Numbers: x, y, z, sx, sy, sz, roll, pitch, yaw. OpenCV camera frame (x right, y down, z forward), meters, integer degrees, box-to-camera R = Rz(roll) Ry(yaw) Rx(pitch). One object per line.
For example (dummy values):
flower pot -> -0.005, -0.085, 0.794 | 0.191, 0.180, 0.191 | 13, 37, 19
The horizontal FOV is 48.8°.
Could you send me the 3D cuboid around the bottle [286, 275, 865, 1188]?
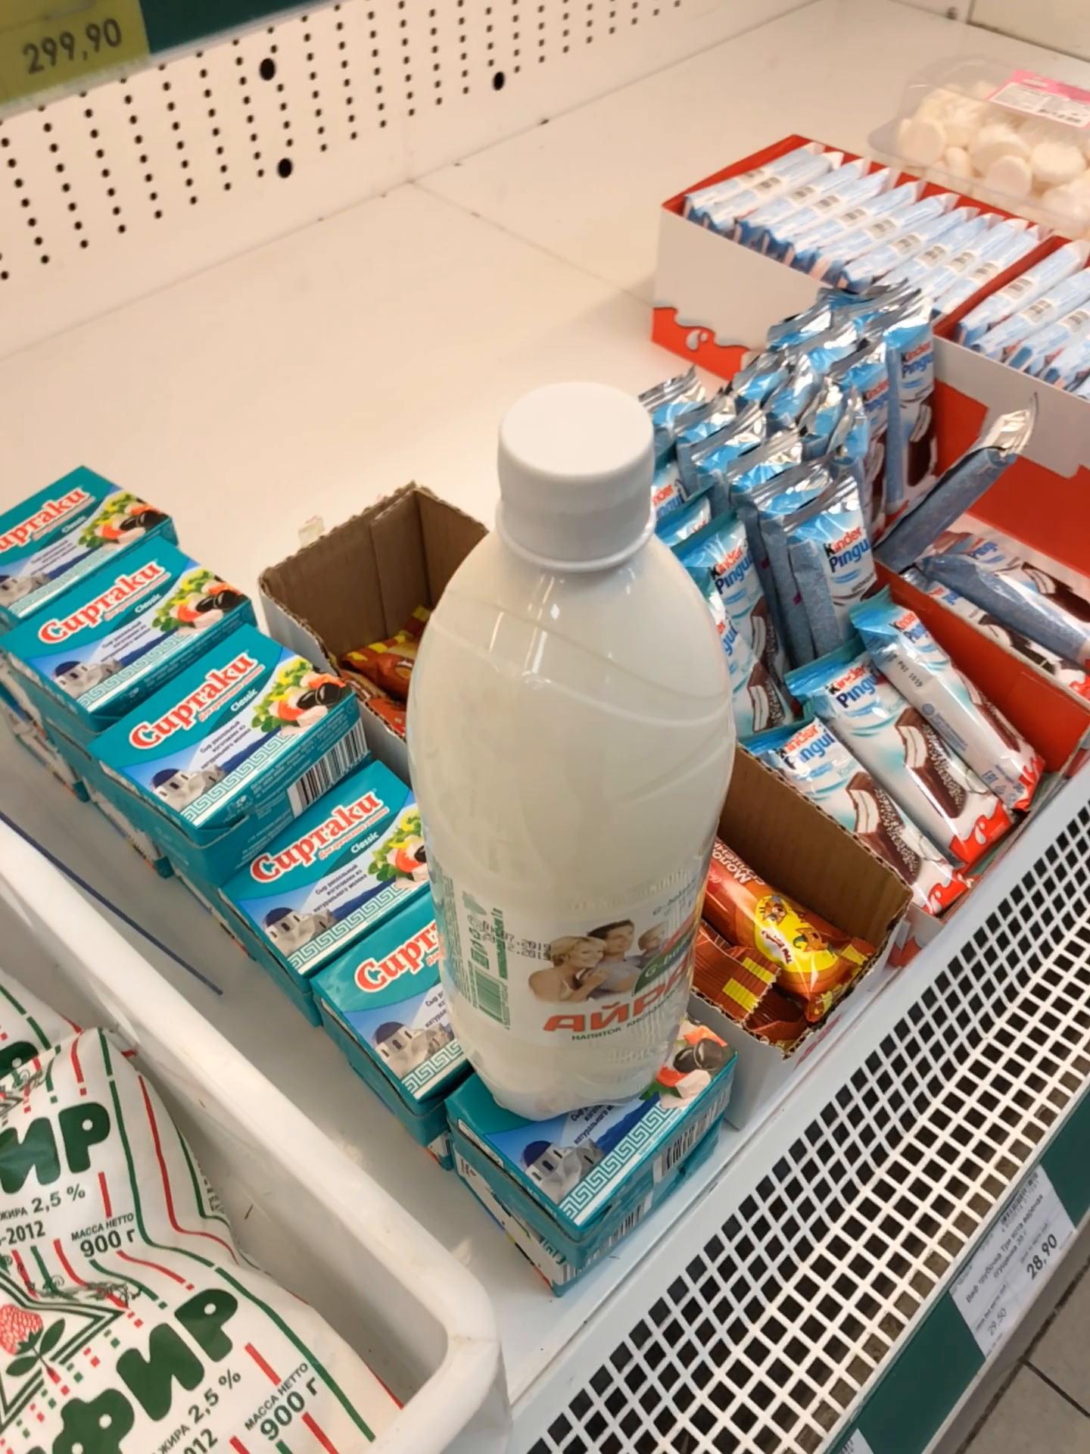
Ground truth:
bottle -> 0.004, 0.024, 0.323 | 0.077, 0.250, 0.080 | 0, 50, 0
